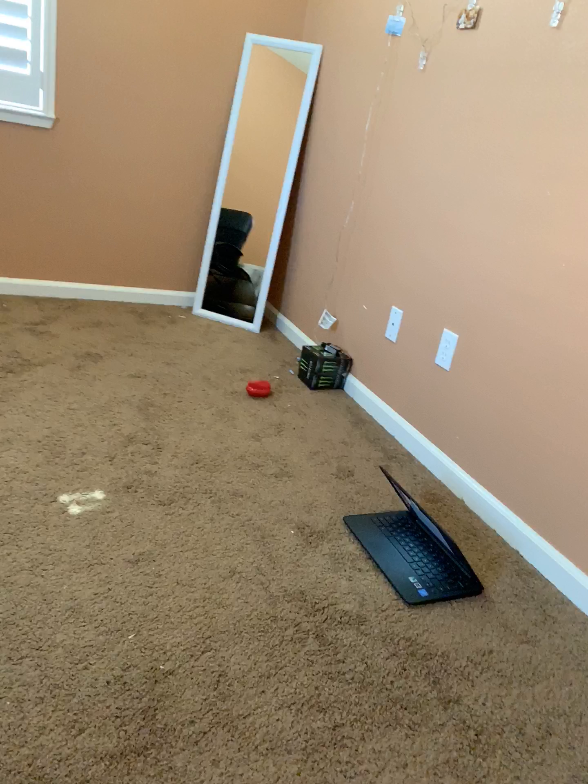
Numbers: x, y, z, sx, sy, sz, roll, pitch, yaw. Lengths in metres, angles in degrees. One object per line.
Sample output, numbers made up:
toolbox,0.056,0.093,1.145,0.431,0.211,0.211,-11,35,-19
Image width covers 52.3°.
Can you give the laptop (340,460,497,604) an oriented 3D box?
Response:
laptop,0.264,0.296,1.337,0.192,0.140,0.293,-1,25,-24
